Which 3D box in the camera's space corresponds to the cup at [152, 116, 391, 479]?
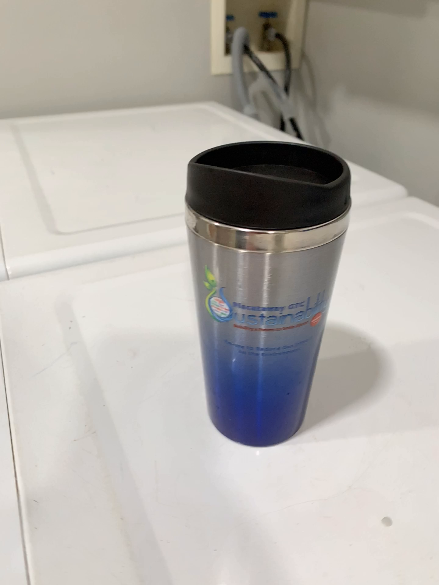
[{"bbox_3d":[0.027,0.001,0.263,0.079,0.171,0.090,21,38,29],"label":"cup"}]
